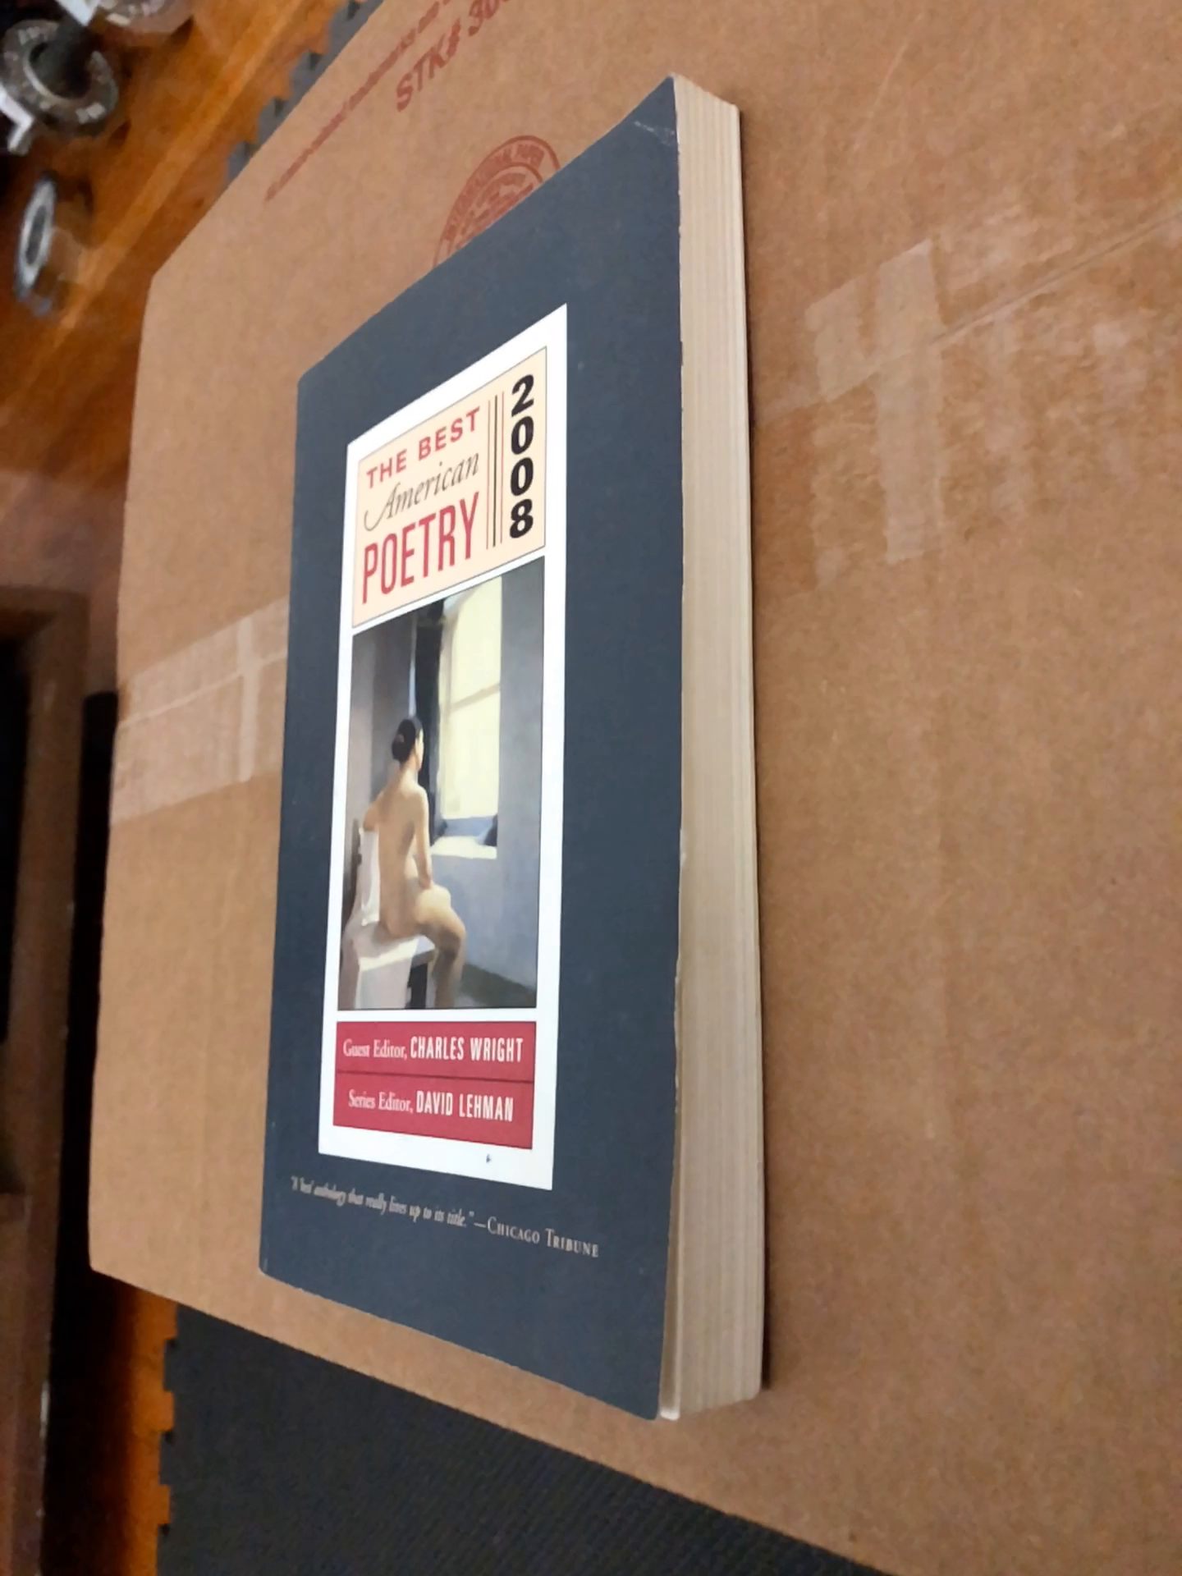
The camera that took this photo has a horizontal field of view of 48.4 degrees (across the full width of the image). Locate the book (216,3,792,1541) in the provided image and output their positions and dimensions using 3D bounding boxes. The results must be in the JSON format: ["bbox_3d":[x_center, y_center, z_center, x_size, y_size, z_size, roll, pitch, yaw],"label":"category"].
[{"bbox_3d":[-0.026,-0.003,0.256,0.151,0.020,0.230,-14,72,50],"label":"book"}]
